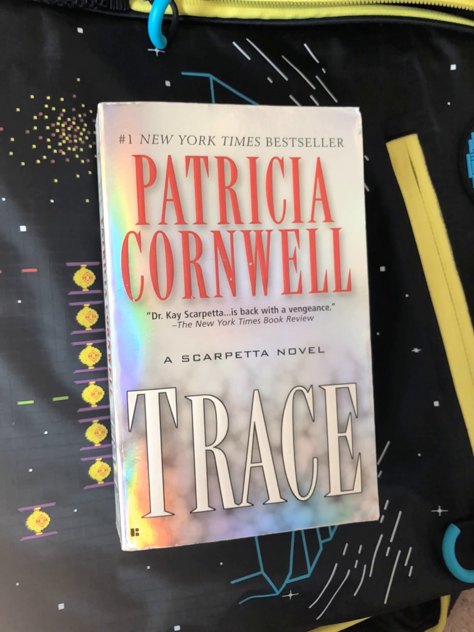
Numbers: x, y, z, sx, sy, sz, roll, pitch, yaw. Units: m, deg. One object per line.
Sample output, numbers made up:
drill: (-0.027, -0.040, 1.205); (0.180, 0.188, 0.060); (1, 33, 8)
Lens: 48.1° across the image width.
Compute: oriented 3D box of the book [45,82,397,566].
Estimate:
book: (-0.005, 0.000, 0.214); (0.120, 0.040, 0.170); (-3, 91, -8)
